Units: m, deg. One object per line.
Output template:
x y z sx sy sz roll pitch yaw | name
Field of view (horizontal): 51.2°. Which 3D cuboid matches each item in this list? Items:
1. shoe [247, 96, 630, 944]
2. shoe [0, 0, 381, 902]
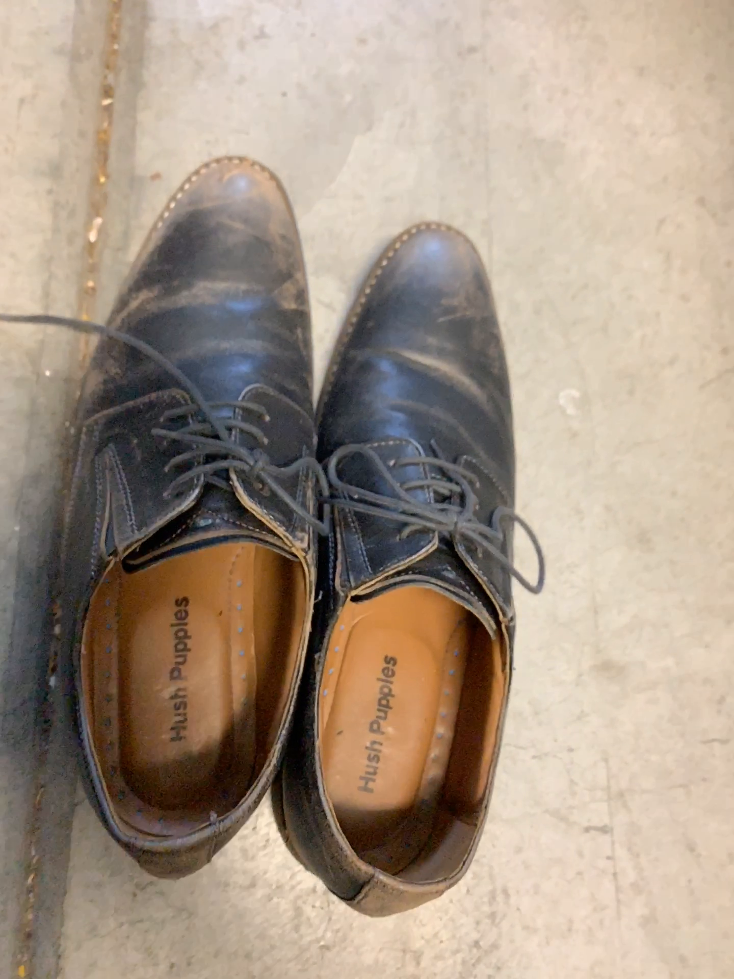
0.029 0.010 0.340 0.110 0.120 0.304 9 77 -12 | shoe
-0.074 -0.016 0.322 0.110 0.120 0.310 8 77 -12 | shoe
